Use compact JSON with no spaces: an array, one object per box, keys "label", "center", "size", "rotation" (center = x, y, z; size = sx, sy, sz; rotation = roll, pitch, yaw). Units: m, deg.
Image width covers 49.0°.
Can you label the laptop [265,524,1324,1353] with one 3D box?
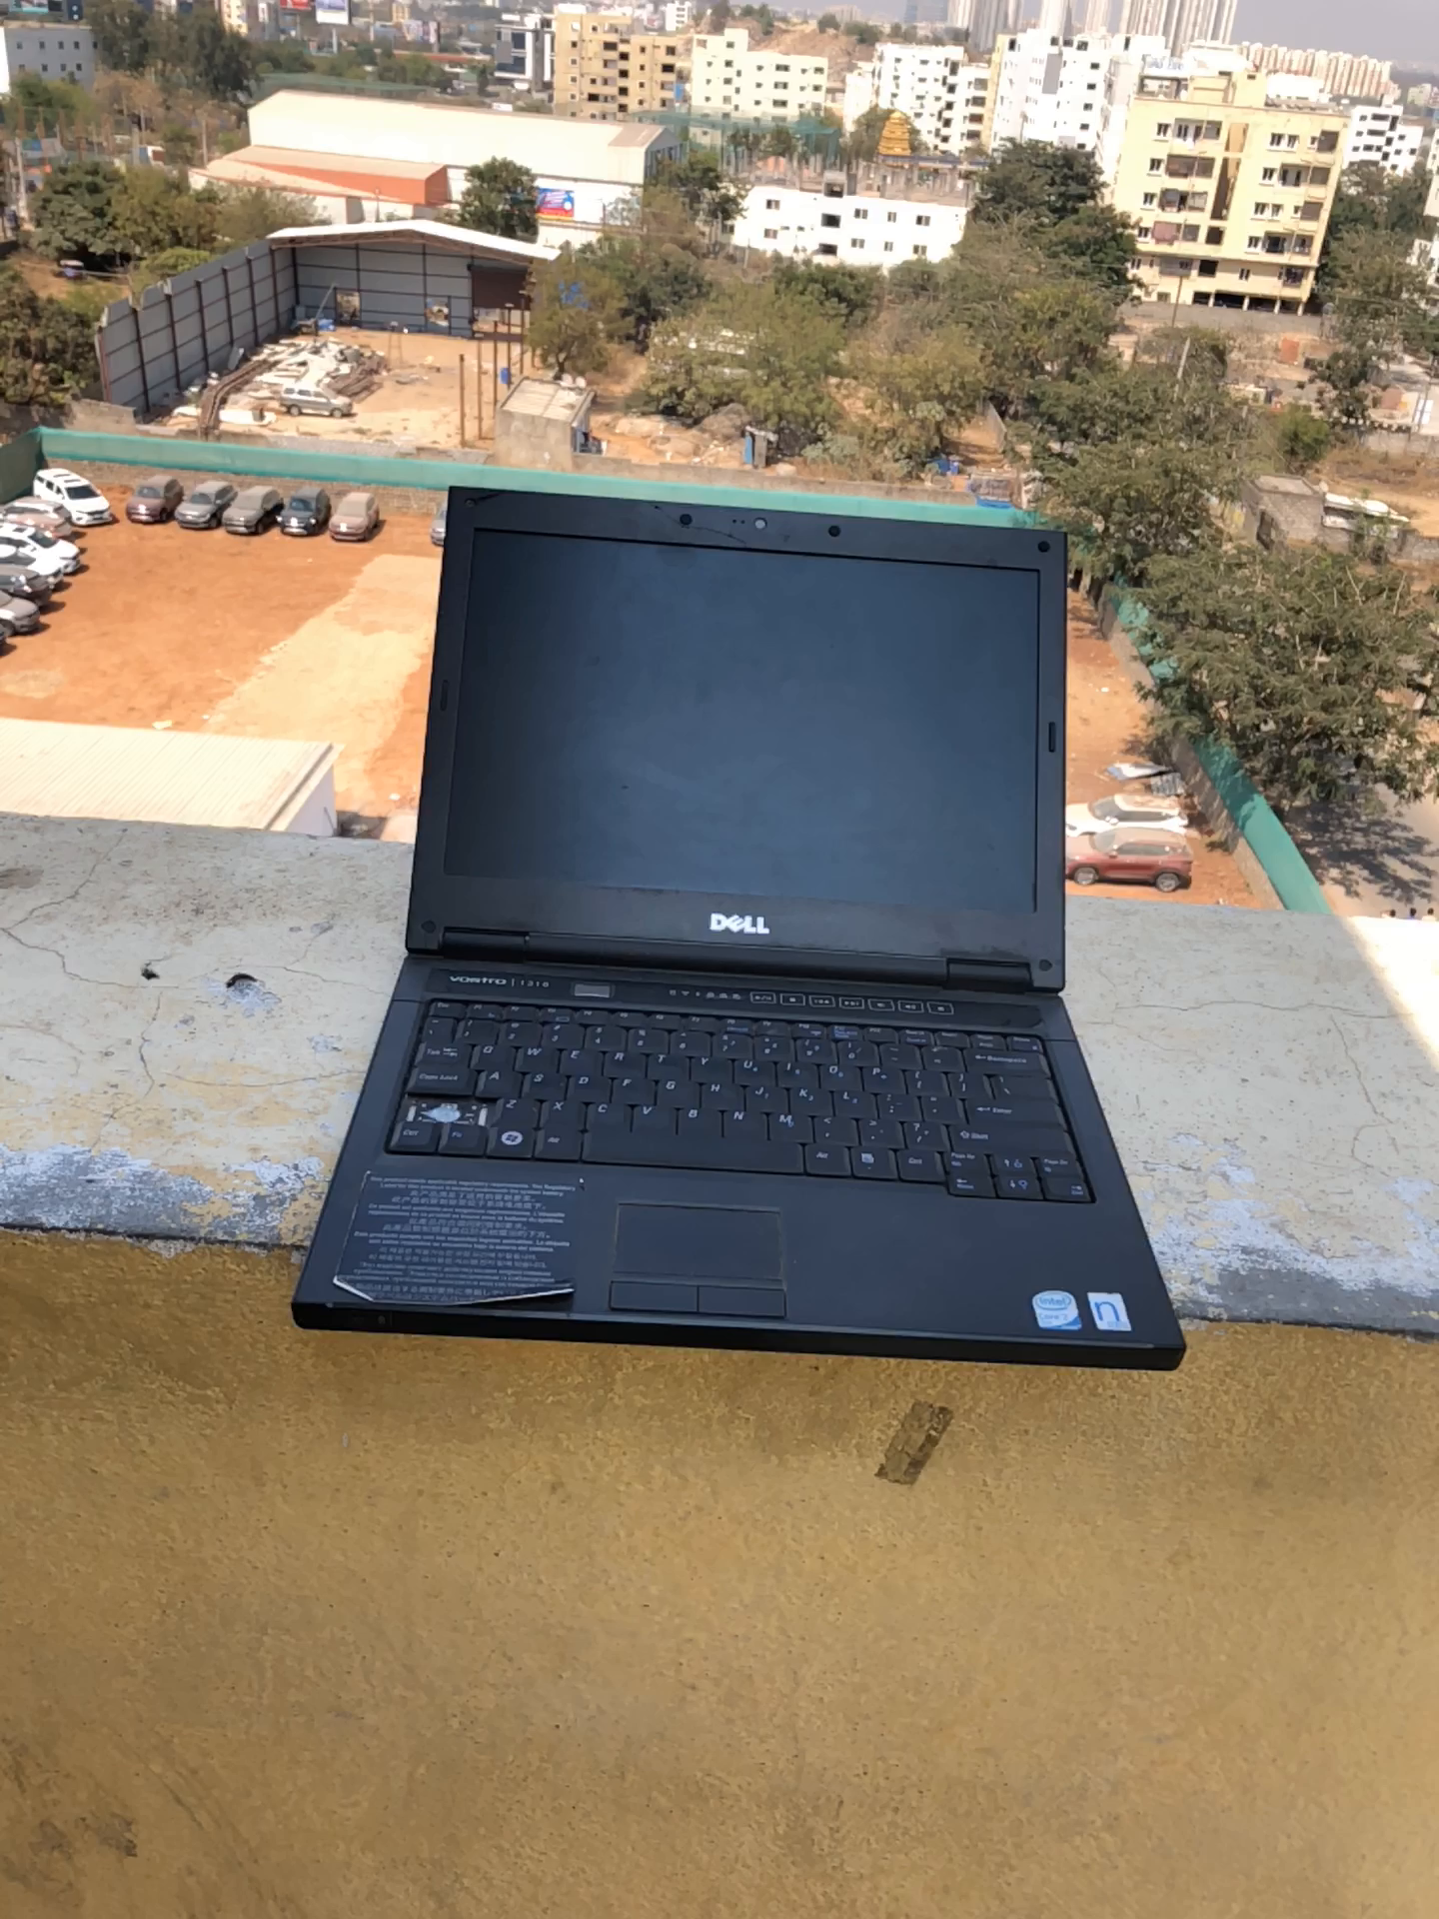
[{"label":"laptop","center":[0.021,-0.039,0.658],"size":[0.301,0.178,0.378],"rotation":[3,29,-1]}]
